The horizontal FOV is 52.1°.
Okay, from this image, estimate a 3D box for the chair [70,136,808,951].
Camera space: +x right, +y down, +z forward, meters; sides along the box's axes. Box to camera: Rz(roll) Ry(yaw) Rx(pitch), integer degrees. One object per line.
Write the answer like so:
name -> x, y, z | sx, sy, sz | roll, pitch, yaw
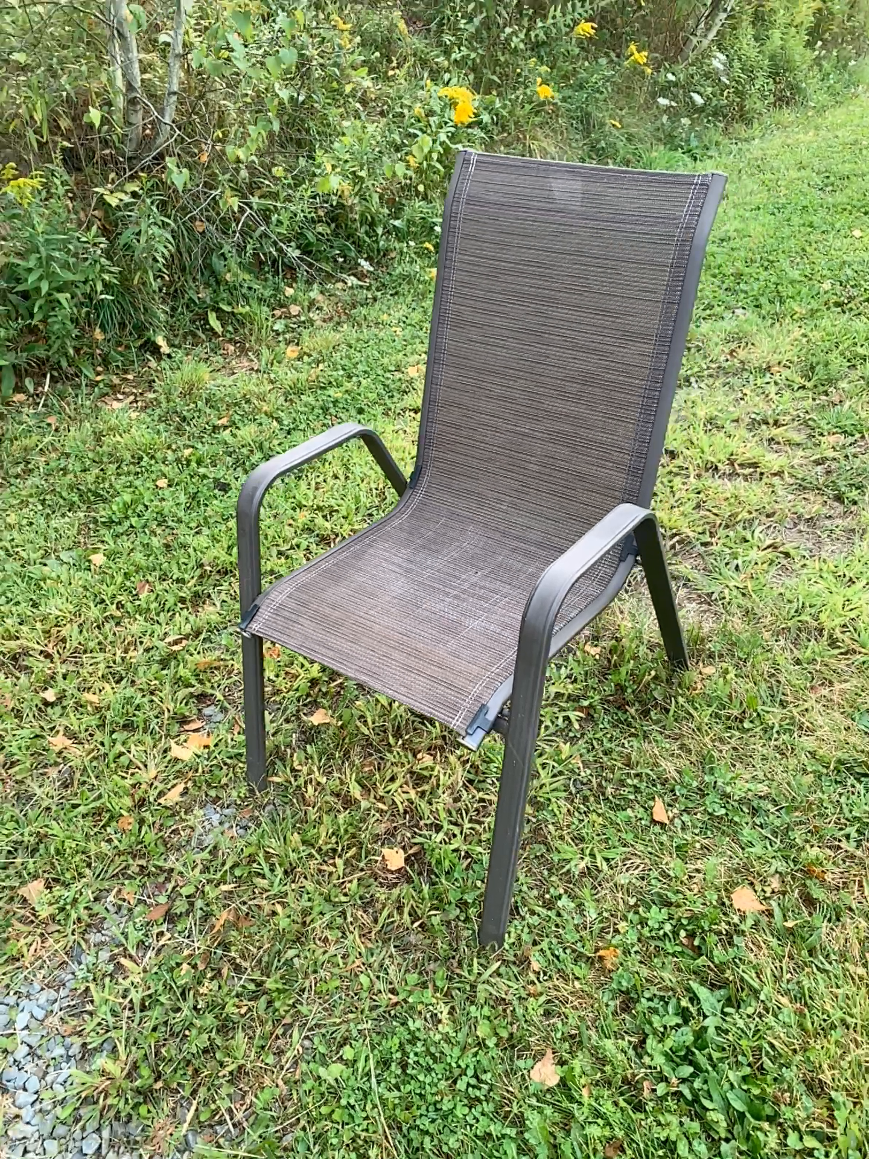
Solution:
chair -> 0.058, -0.138, 1.354 | 0.621, 0.875, 0.743 | 19, 38, 30
